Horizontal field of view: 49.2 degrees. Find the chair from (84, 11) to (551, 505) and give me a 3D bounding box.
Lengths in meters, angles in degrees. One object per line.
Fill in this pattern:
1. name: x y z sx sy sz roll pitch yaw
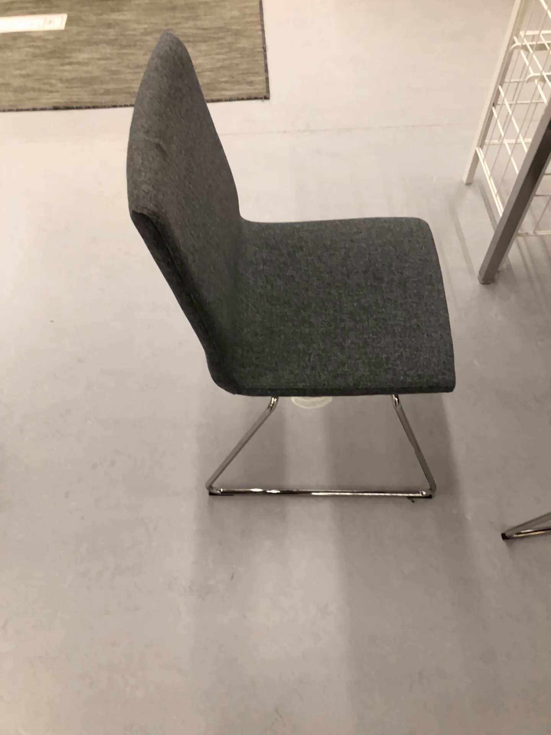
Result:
1. chair: 0.089 -0.123 1.174 0.590 0.836 0.512 0 58 2
